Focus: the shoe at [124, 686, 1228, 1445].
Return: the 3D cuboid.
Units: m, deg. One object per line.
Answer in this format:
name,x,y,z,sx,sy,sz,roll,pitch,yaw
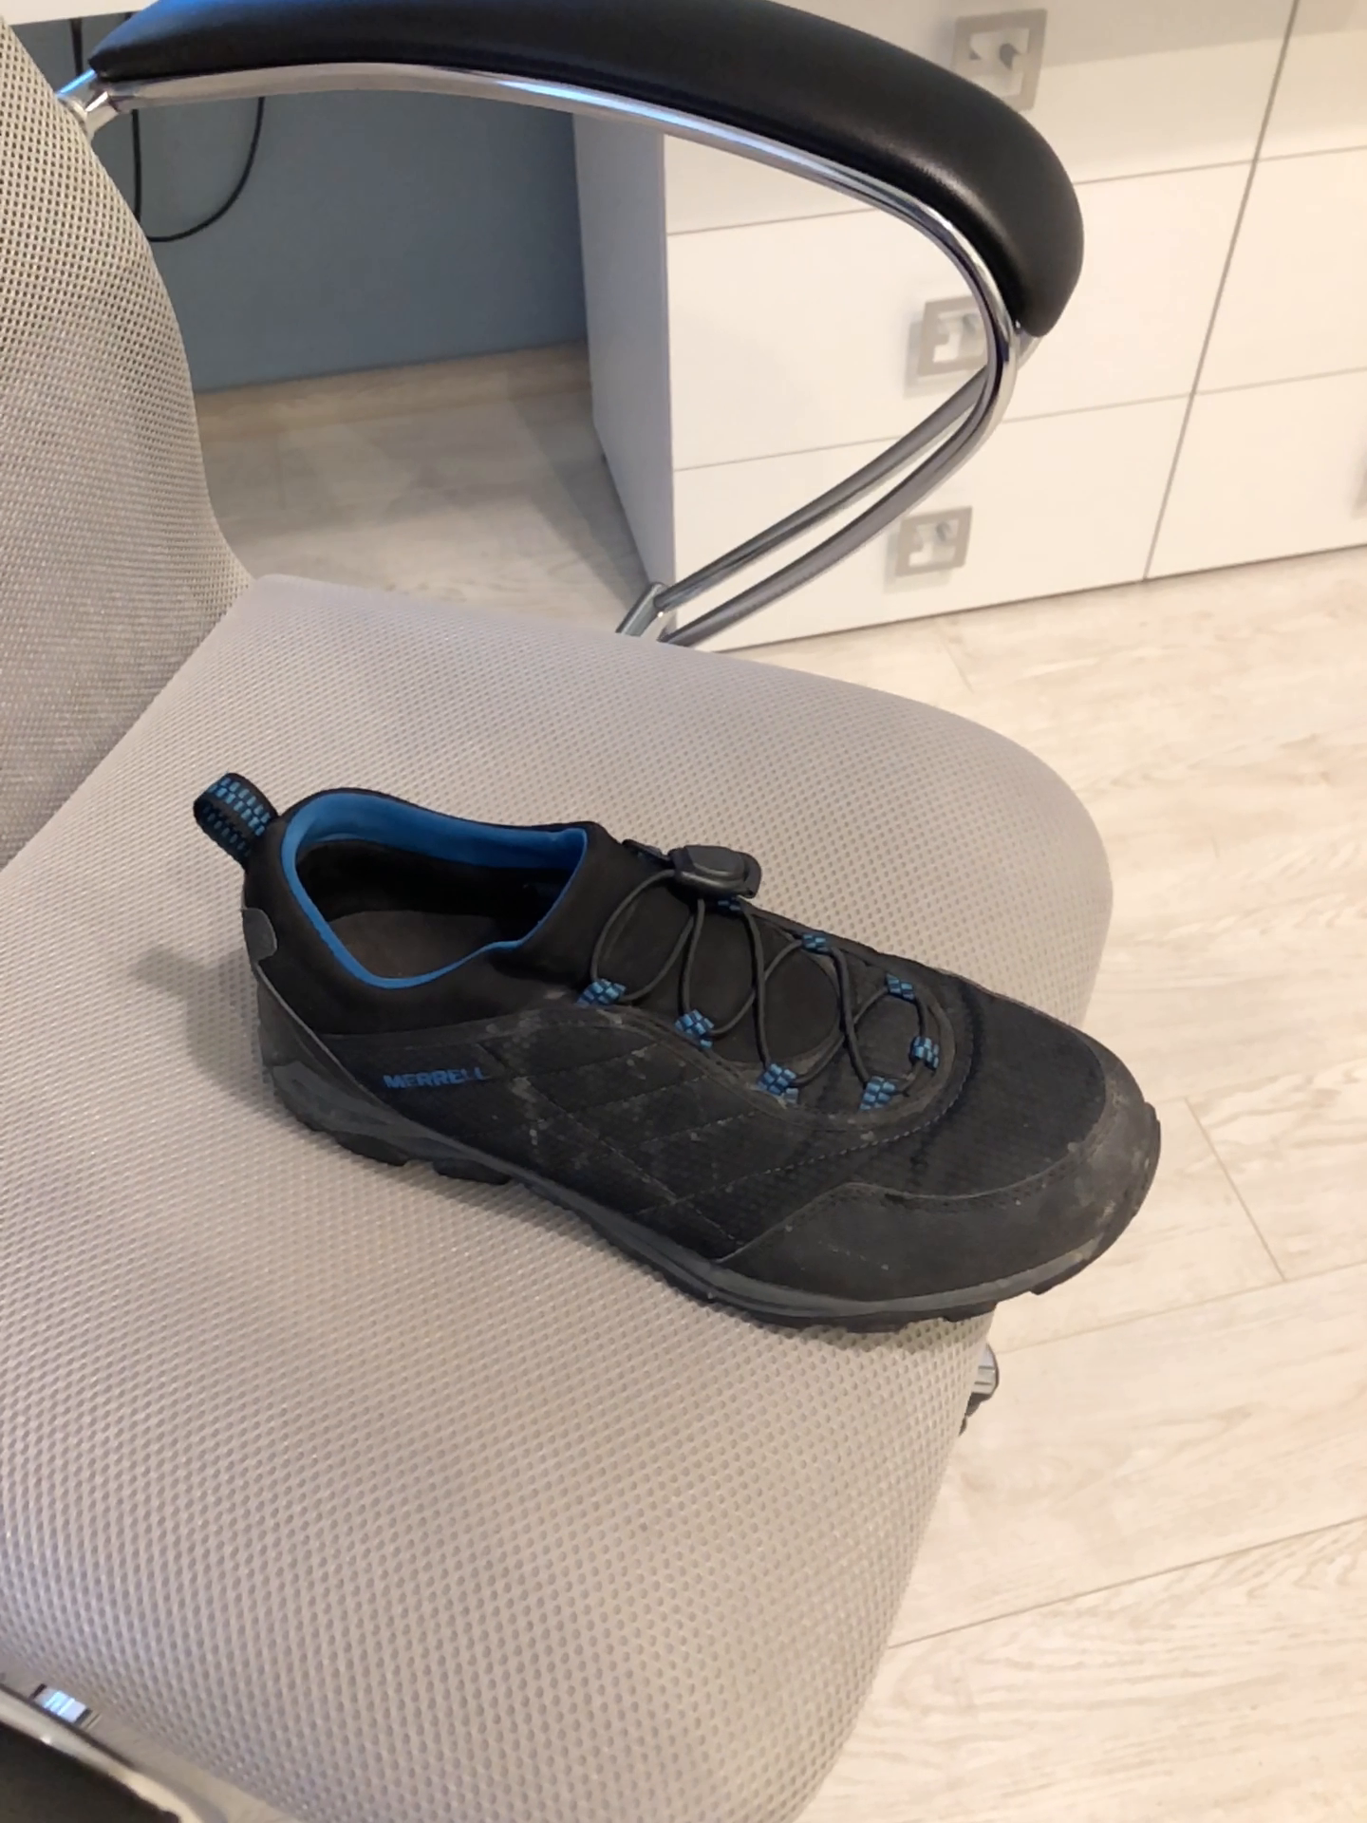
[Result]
shoe,0.000,0.042,0.484,0.300,0.109,0.129,15,51,13
